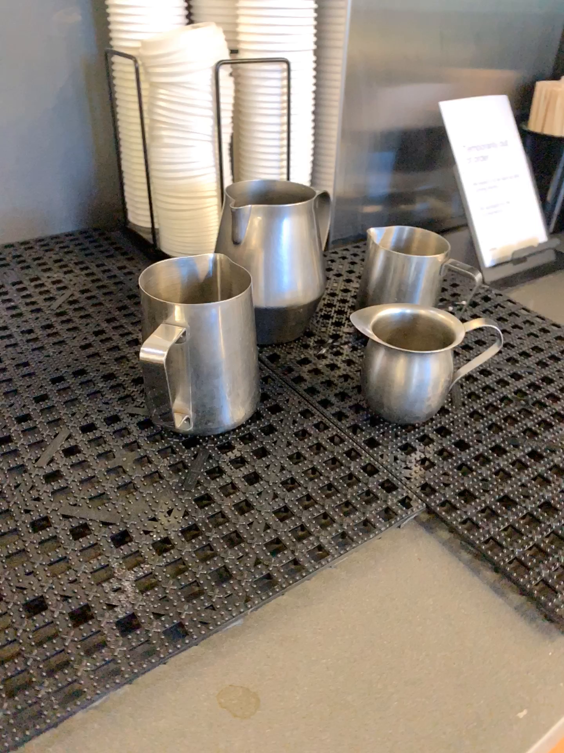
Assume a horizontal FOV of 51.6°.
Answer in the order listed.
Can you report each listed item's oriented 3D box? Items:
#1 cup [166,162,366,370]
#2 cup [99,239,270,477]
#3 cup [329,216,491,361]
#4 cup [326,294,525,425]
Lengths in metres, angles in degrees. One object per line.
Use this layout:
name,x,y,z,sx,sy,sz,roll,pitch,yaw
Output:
cup,-0.012,-0.109,0.542,0.100,0.129,0.150,26,41,31
cup,-0.057,-0.017,0.402,0.080,0.109,0.121,5,34,4
cup,0.112,-0.083,0.524,0.110,0.080,0.080,21,38,25
cup,0.097,-0.014,0.428,0.120,0.060,0.080,1,34,-2
